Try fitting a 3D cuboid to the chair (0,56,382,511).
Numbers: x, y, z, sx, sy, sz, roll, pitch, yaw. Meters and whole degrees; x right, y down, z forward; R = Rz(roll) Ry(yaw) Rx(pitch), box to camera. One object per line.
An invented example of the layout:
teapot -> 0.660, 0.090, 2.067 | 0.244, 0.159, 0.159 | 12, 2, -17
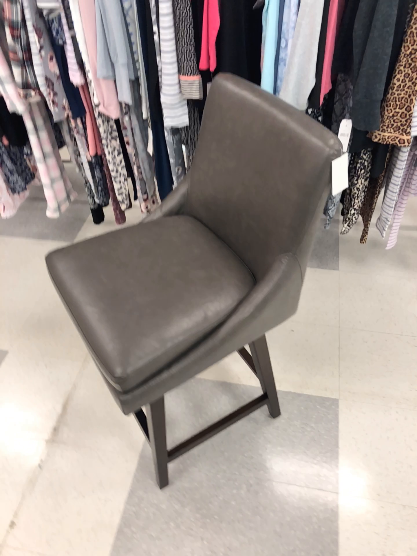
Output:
chair -> -0.057, 0.056, 1.166 | 0.579, 0.918, 0.493 | -25, 50, -20
